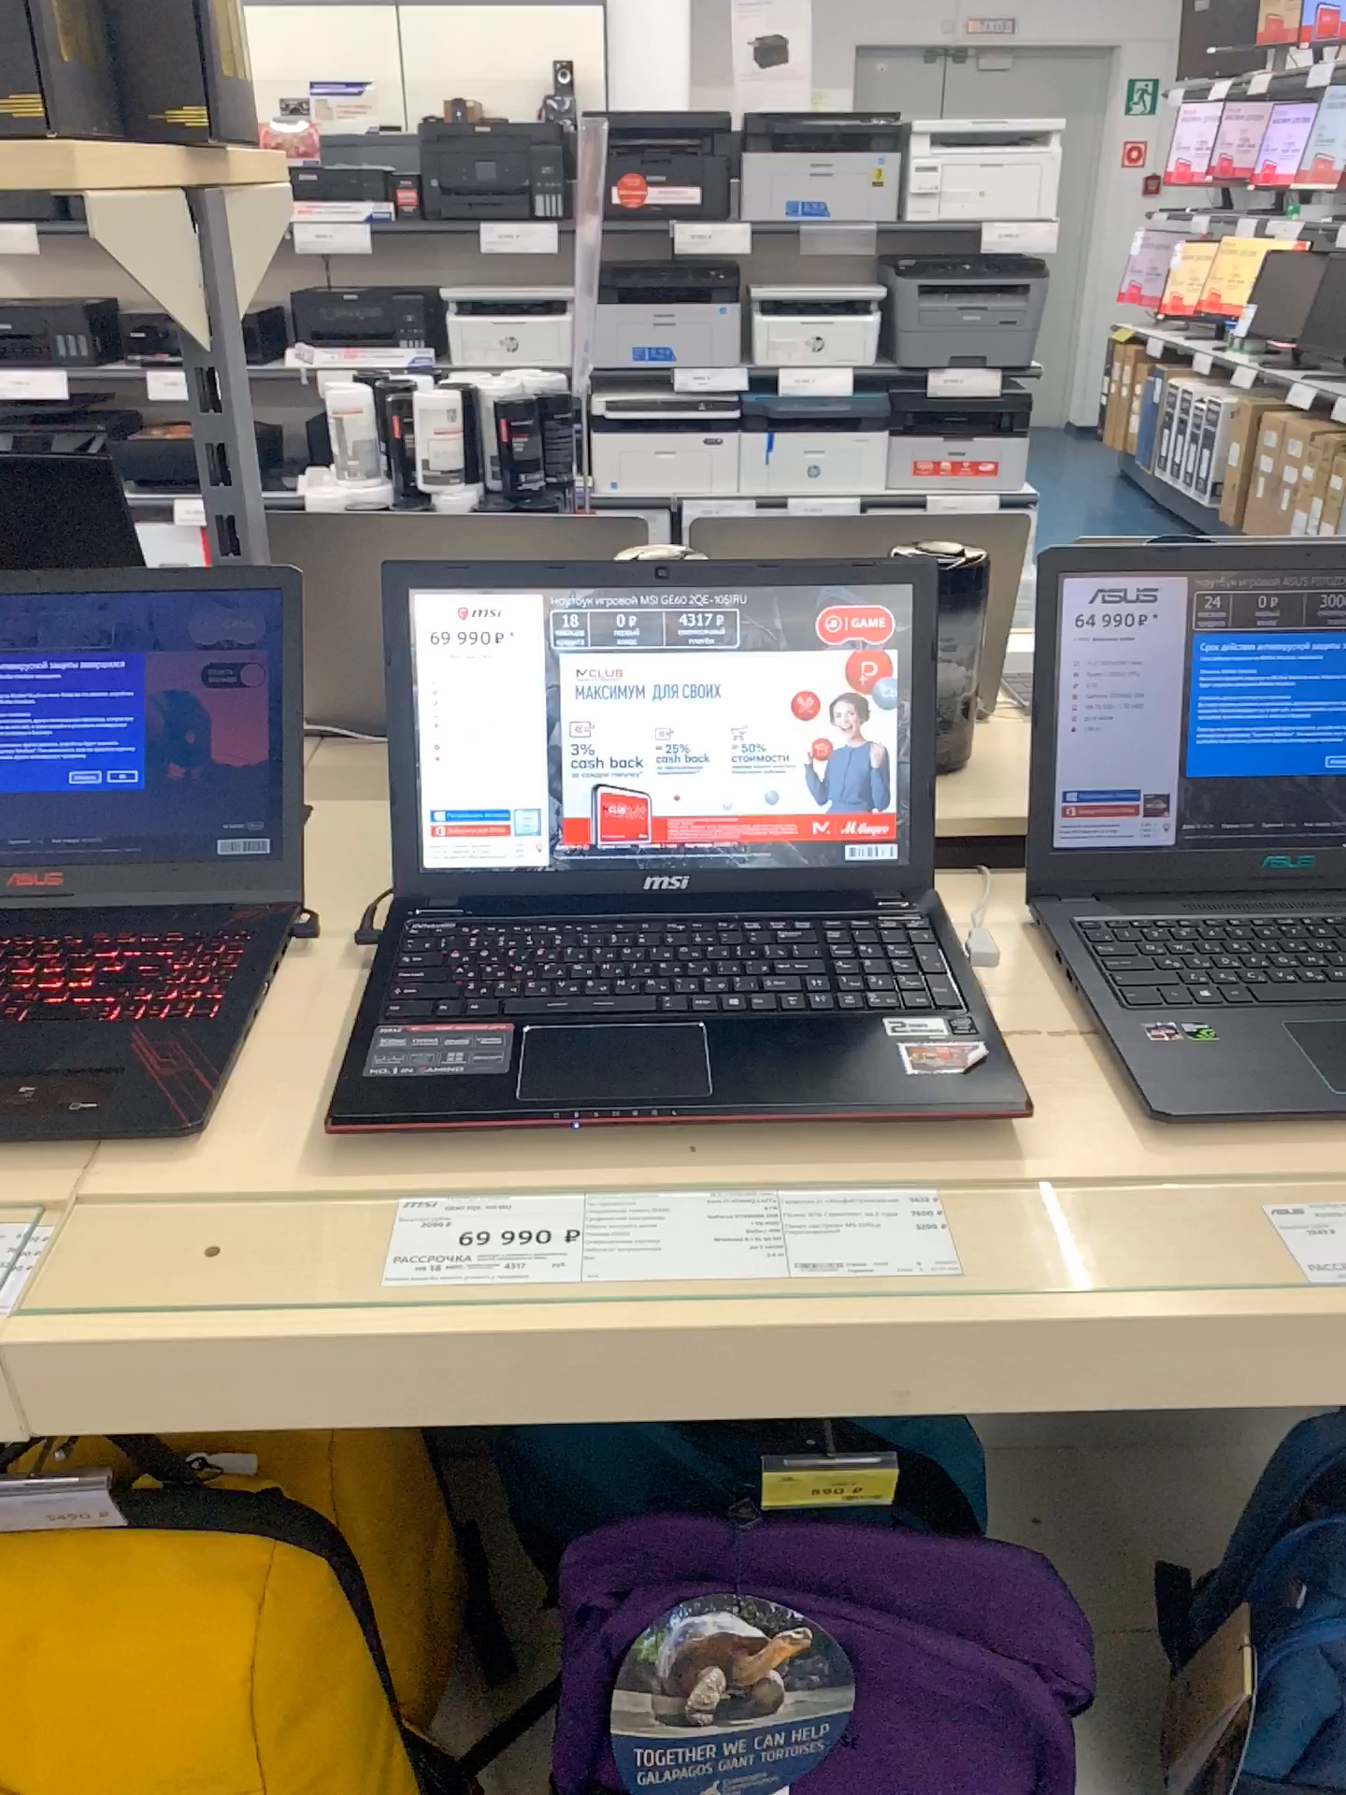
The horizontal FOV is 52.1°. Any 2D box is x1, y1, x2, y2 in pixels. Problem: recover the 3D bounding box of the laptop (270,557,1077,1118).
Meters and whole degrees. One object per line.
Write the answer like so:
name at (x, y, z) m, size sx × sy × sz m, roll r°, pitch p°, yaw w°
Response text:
laptop at (-0.005, -0.055, 0.787) m, size 0.355 × 0.197 × 0.314 m, roll -1°, pitch 28°, yaw -3°
